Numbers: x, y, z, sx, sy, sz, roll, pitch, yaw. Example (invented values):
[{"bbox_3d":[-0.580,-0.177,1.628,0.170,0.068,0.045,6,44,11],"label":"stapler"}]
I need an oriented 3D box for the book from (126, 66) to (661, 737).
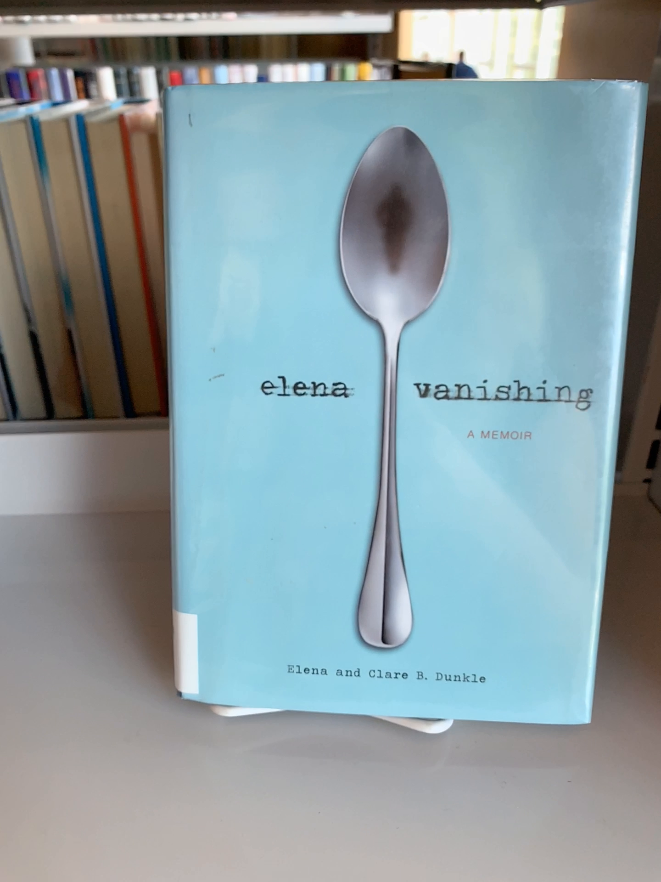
[{"bbox_3d":[0.020,-0.008,0.231,0.159,0.203,0.035,2,11,4],"label":"book"}]
